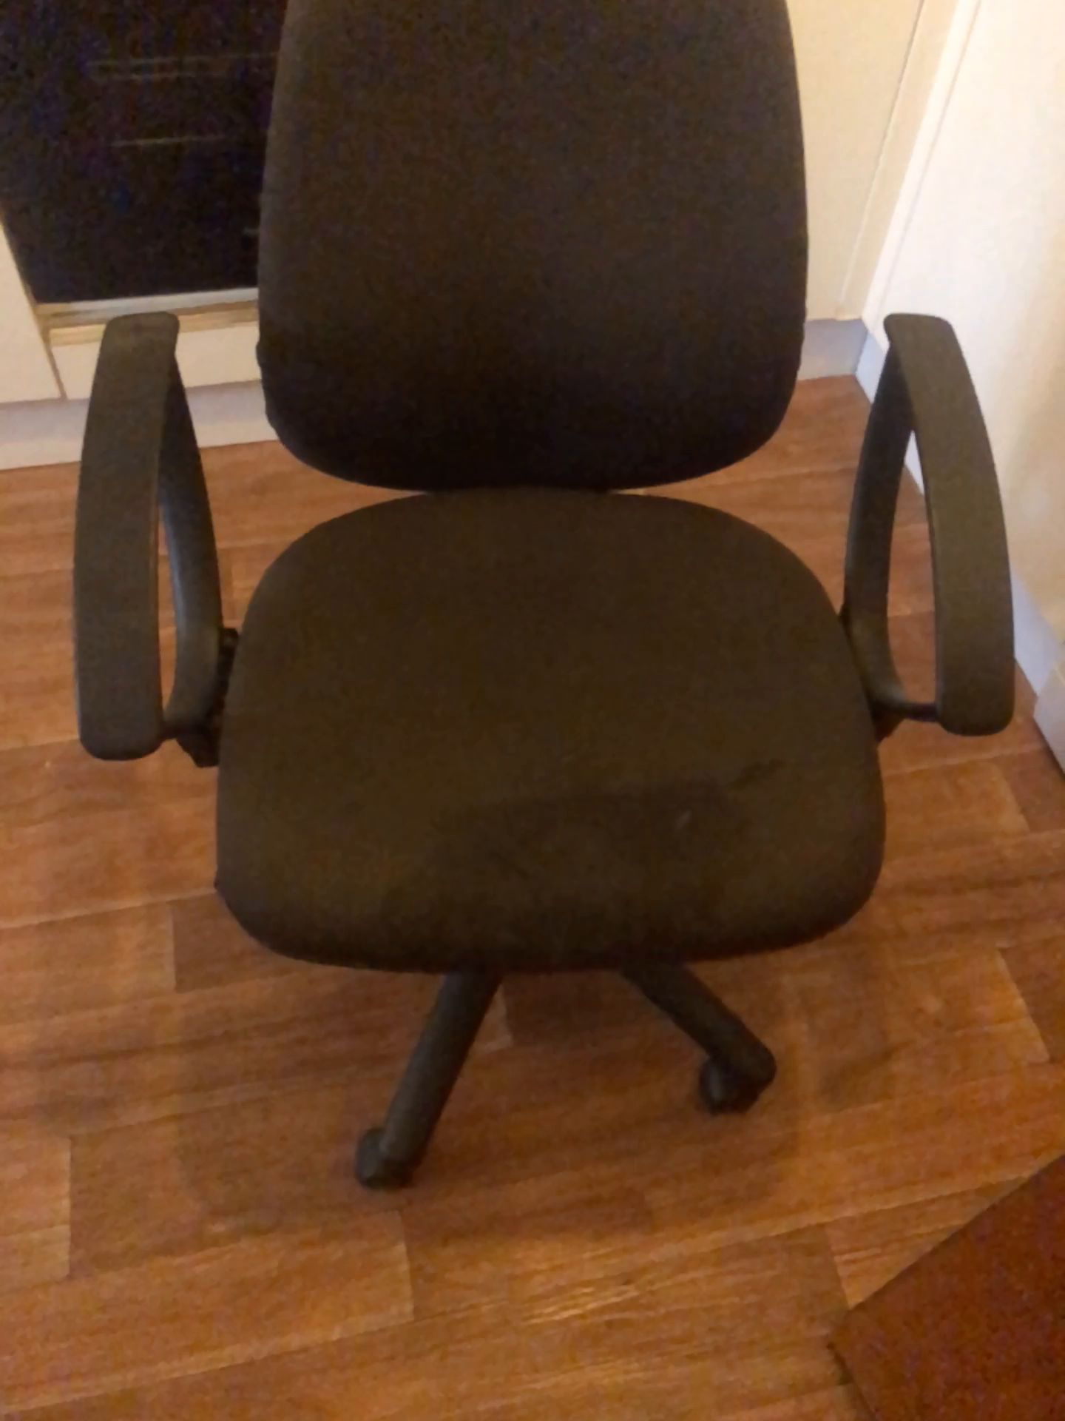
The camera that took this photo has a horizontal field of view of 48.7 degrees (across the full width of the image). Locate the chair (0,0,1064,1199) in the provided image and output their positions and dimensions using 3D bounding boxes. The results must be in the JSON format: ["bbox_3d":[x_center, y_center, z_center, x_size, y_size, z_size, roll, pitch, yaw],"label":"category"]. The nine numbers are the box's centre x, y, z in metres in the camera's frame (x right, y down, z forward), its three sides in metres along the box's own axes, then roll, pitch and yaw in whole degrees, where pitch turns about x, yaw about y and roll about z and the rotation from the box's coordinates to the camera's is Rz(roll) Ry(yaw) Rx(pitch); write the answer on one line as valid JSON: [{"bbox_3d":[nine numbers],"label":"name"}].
[{"bbox_3d":[0.009,-0.057,0.941,0.673,0.816,0.655,1,54,-2],"label":"chair"}]
